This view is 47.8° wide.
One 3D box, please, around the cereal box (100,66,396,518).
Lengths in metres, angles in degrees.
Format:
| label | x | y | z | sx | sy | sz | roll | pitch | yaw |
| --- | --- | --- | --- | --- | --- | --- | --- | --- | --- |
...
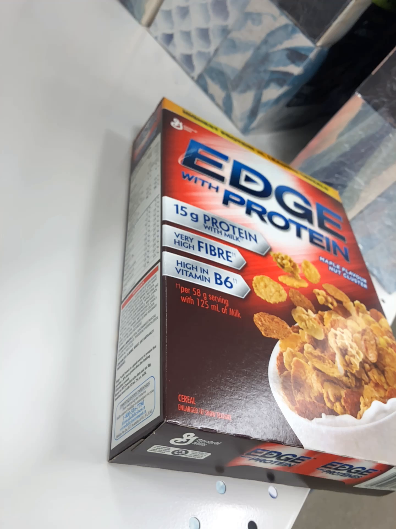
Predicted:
| label | x | y | z | sx | sy | sz | roll | pitch | yaw |
| --- | --- | --- | --- | --- | --- | --- | --- | --- | --- |
| cereal box | 0.059 | 0.007 | 0.302 | 0.221 | 0.050 | 0.271 | 21 | 43 | -26 |
